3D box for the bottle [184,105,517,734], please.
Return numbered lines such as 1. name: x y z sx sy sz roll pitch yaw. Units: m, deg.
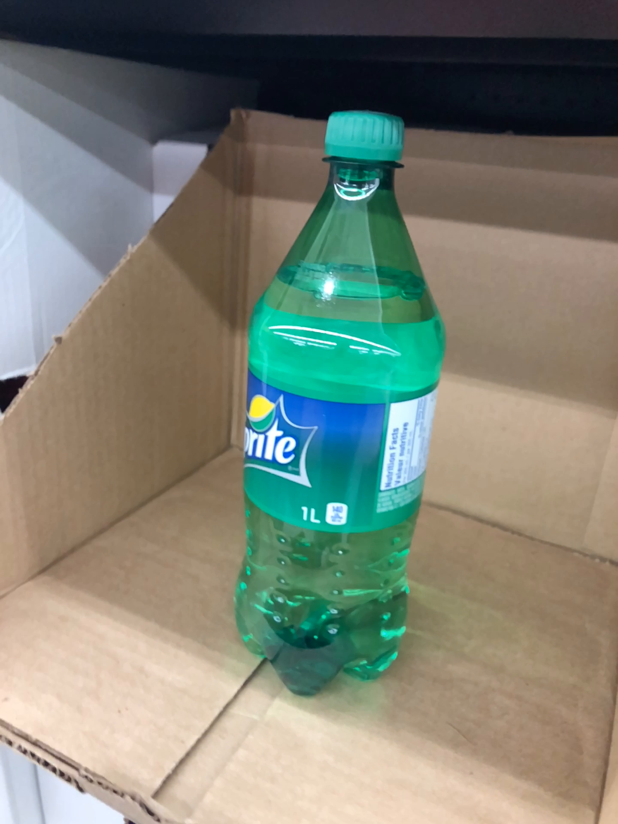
1. bottle: 0.008 0.001 0.312 0.090 0.248 0.090 3 23 -1
